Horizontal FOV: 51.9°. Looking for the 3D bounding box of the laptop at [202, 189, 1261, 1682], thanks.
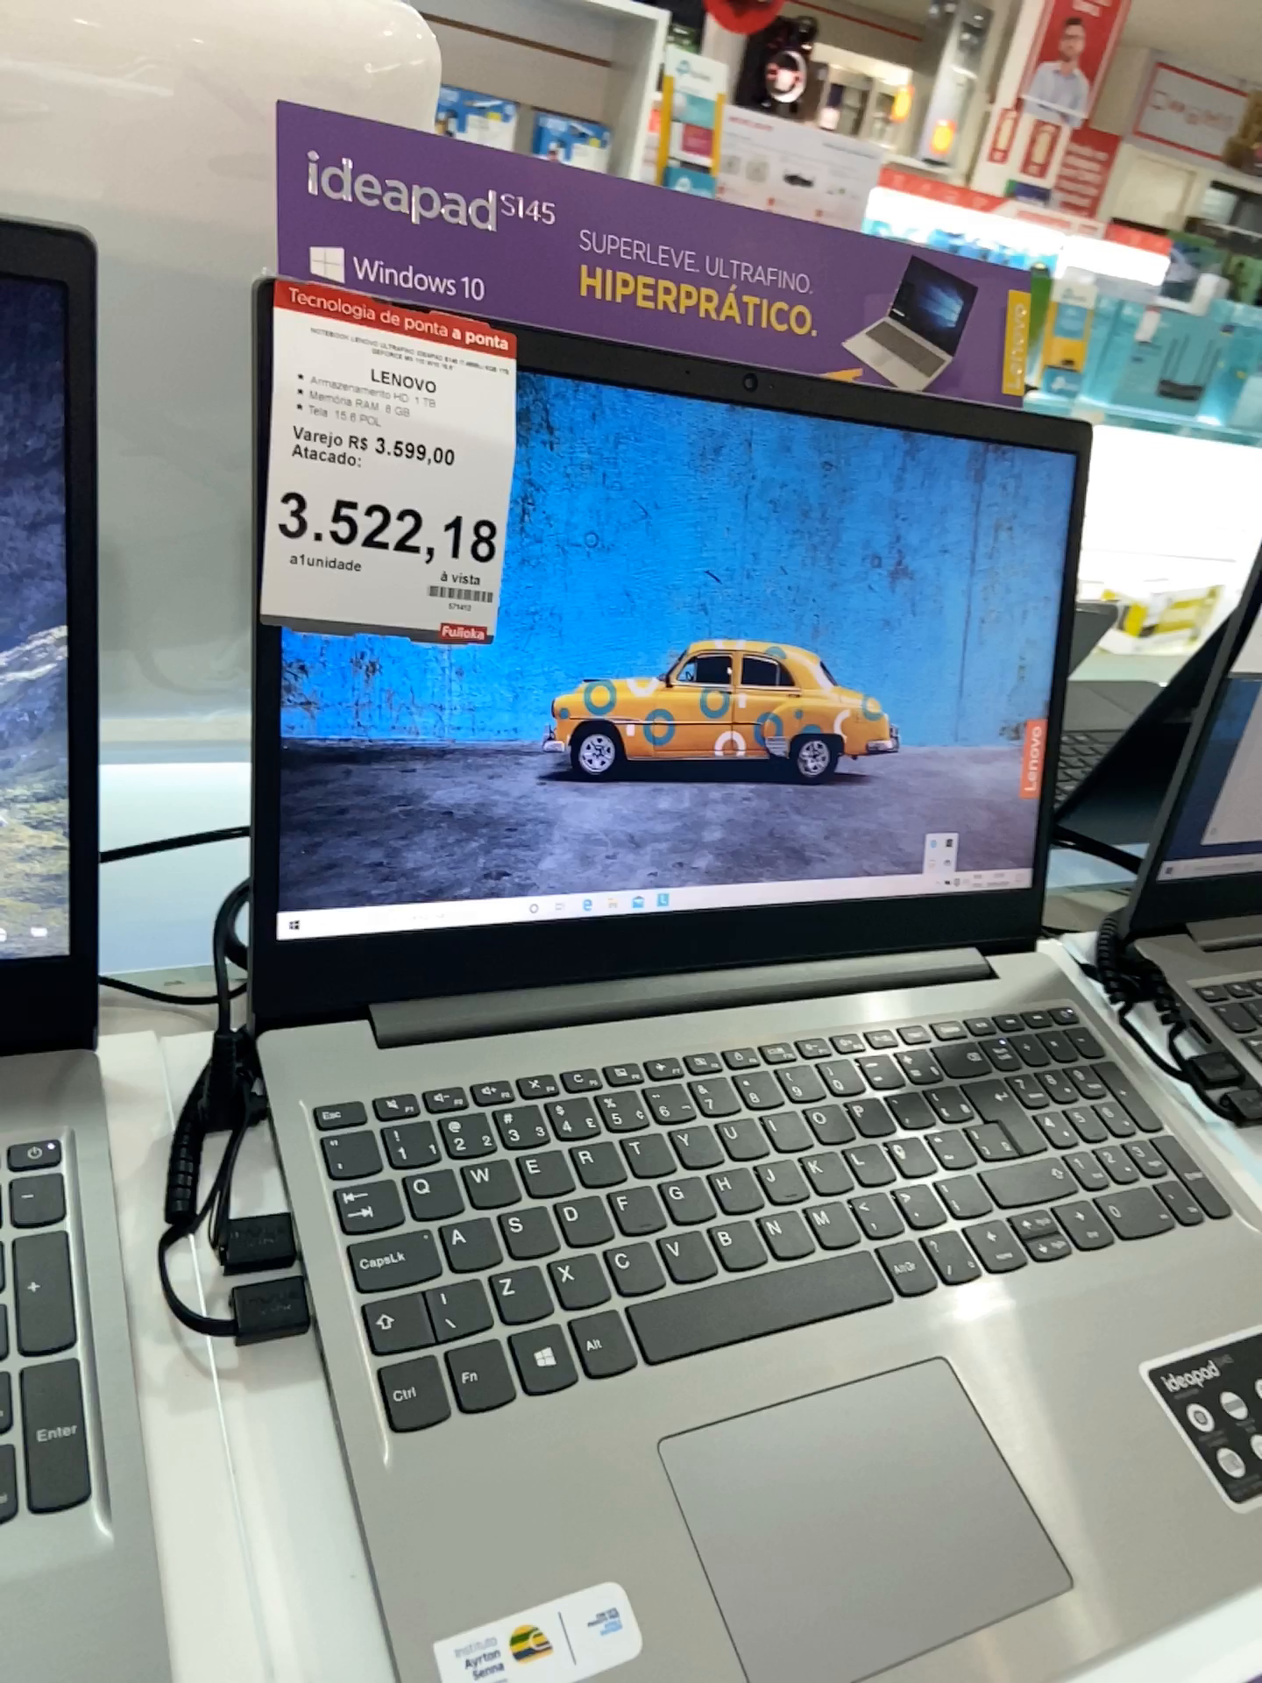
[{"bbox_3d":[0.075,0.000,0.411,0.347,0.209,0.366,-2,39,-27],"label":"laptop"}]
